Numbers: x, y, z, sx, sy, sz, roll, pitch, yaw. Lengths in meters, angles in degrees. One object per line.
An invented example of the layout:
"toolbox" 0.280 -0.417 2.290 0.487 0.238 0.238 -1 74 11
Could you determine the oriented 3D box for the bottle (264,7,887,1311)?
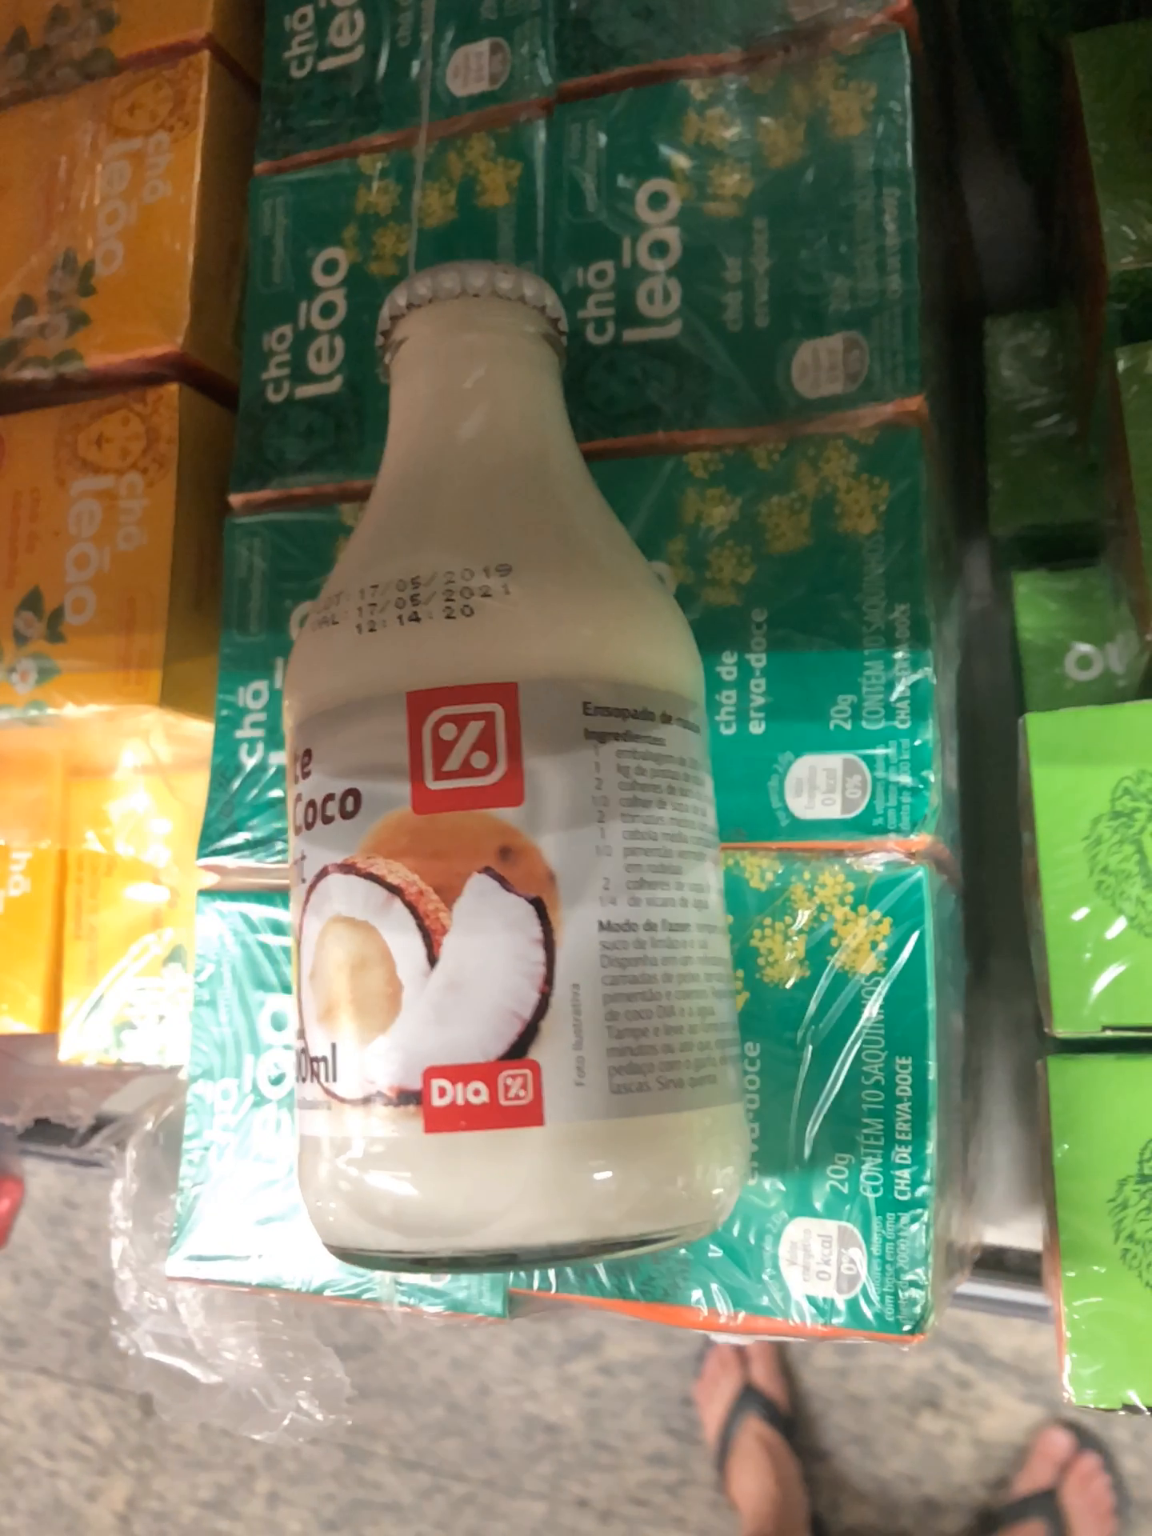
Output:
"bottle" 0.000 -0.013 0.188 0.070 0.050 0.160 -6 78 19
